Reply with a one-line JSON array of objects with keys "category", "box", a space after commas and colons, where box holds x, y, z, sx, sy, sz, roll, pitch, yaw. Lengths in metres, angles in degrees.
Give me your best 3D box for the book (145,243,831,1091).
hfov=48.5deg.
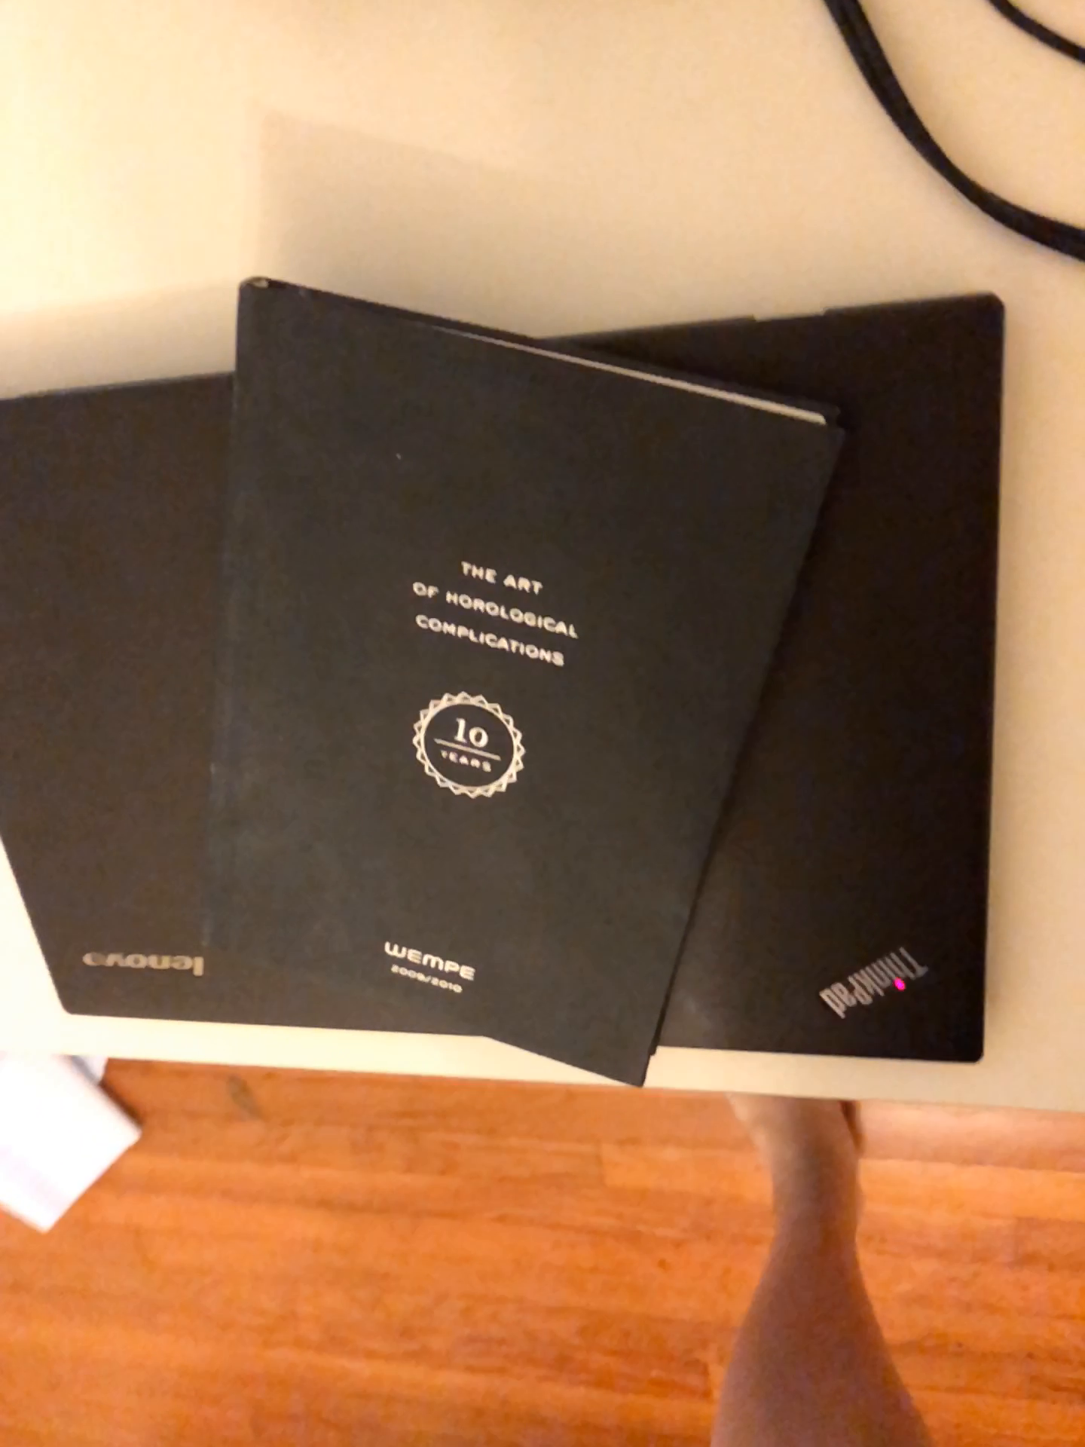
[{"category": "book", "box": [-0.030, -0.008, 0.358, 0.170, 0.030, 0.221, 15, 117, 8]}]
